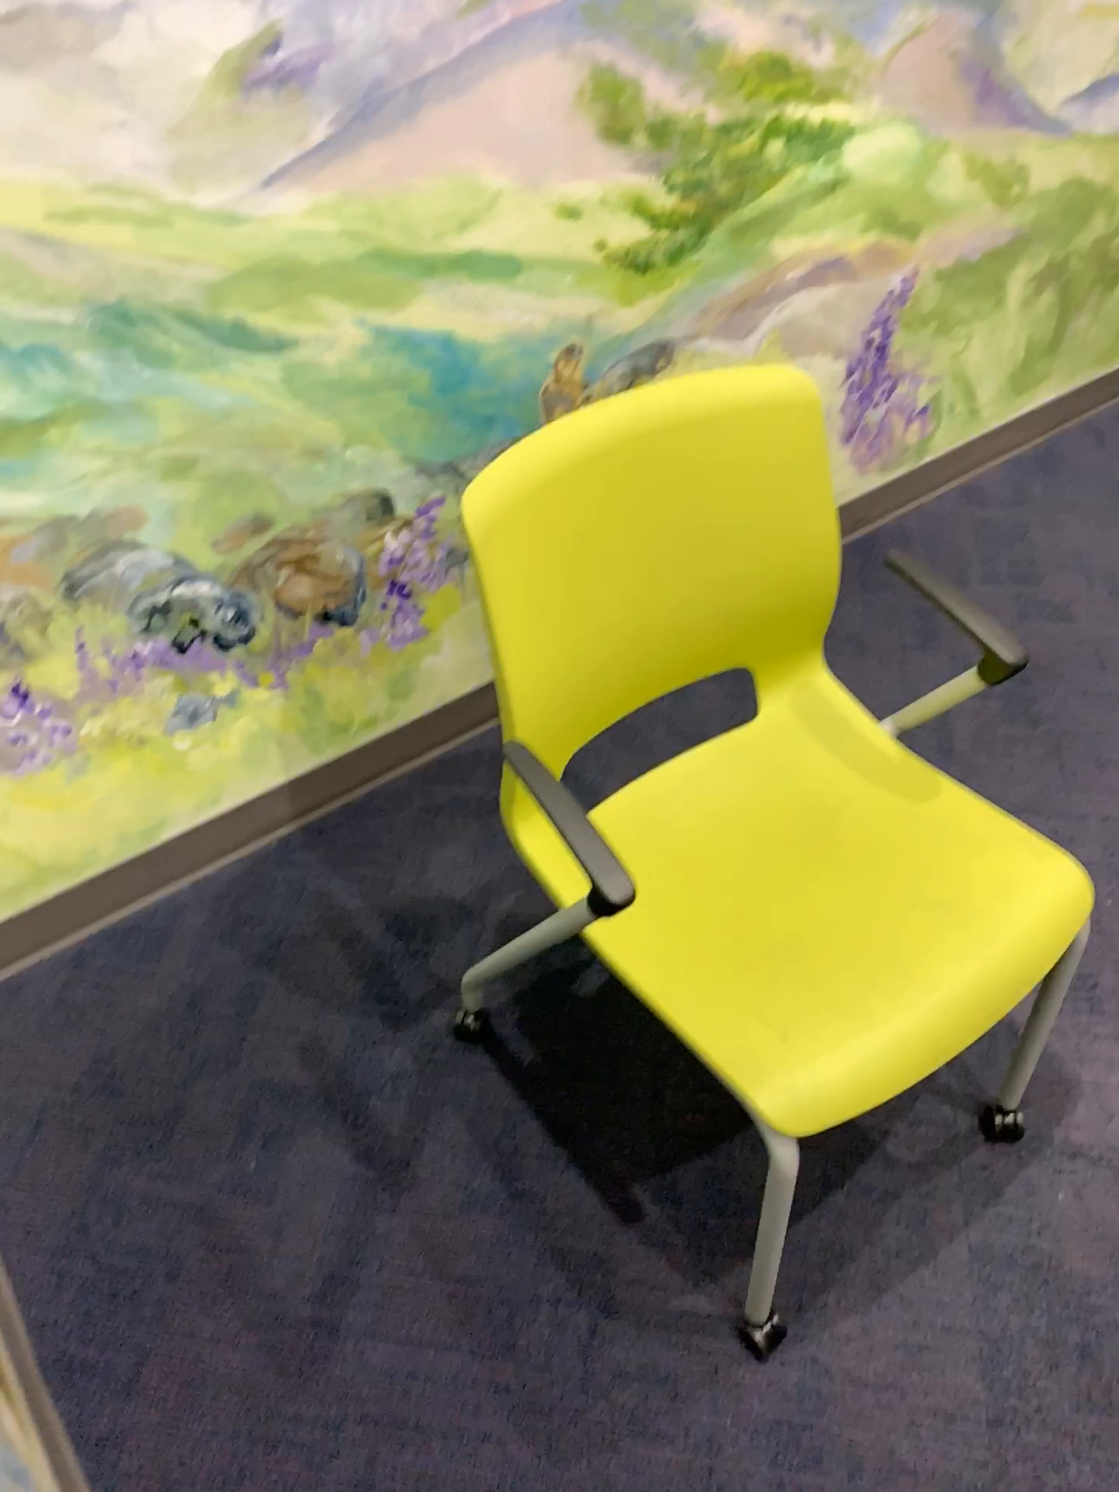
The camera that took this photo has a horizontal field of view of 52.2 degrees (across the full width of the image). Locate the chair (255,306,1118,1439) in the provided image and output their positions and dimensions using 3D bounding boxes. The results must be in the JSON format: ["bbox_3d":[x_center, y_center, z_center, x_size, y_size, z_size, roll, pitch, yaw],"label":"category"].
[{"bbox_3d":[0.171,0.091,1.205,0.591,0.717,0.742,-25,49,-22],"label":"chair"}]
